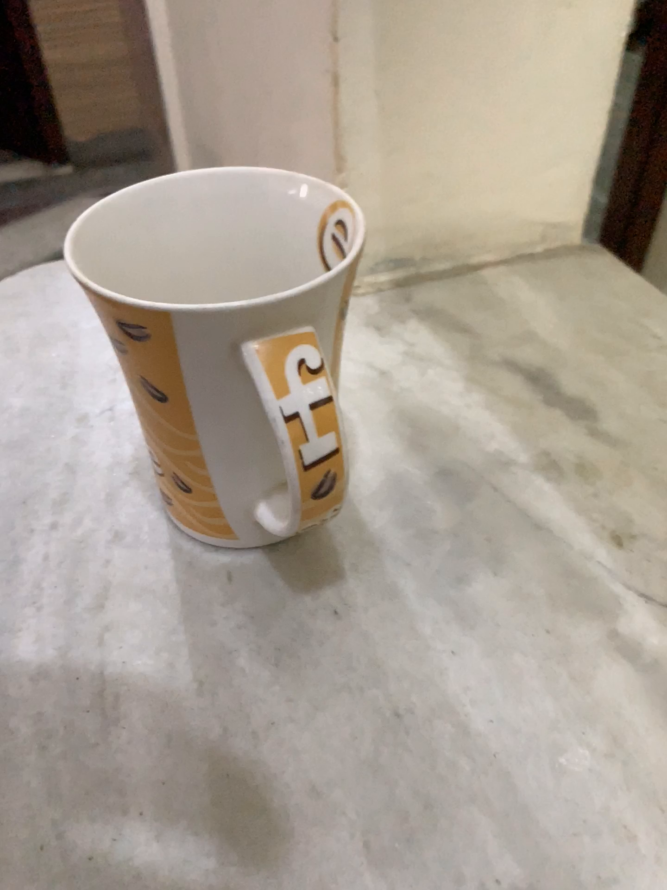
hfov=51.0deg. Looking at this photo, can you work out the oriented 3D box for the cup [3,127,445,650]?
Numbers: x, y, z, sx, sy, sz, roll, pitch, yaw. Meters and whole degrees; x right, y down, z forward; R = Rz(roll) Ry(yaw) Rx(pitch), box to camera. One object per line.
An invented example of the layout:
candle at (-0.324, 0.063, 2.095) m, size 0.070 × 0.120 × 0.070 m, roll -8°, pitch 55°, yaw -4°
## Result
cup at (-0.033, -0.022, 0.209) m, size 0.080 × 0.100 × 0.100 m, roll -20°, pitch 46°, yaw -20°
